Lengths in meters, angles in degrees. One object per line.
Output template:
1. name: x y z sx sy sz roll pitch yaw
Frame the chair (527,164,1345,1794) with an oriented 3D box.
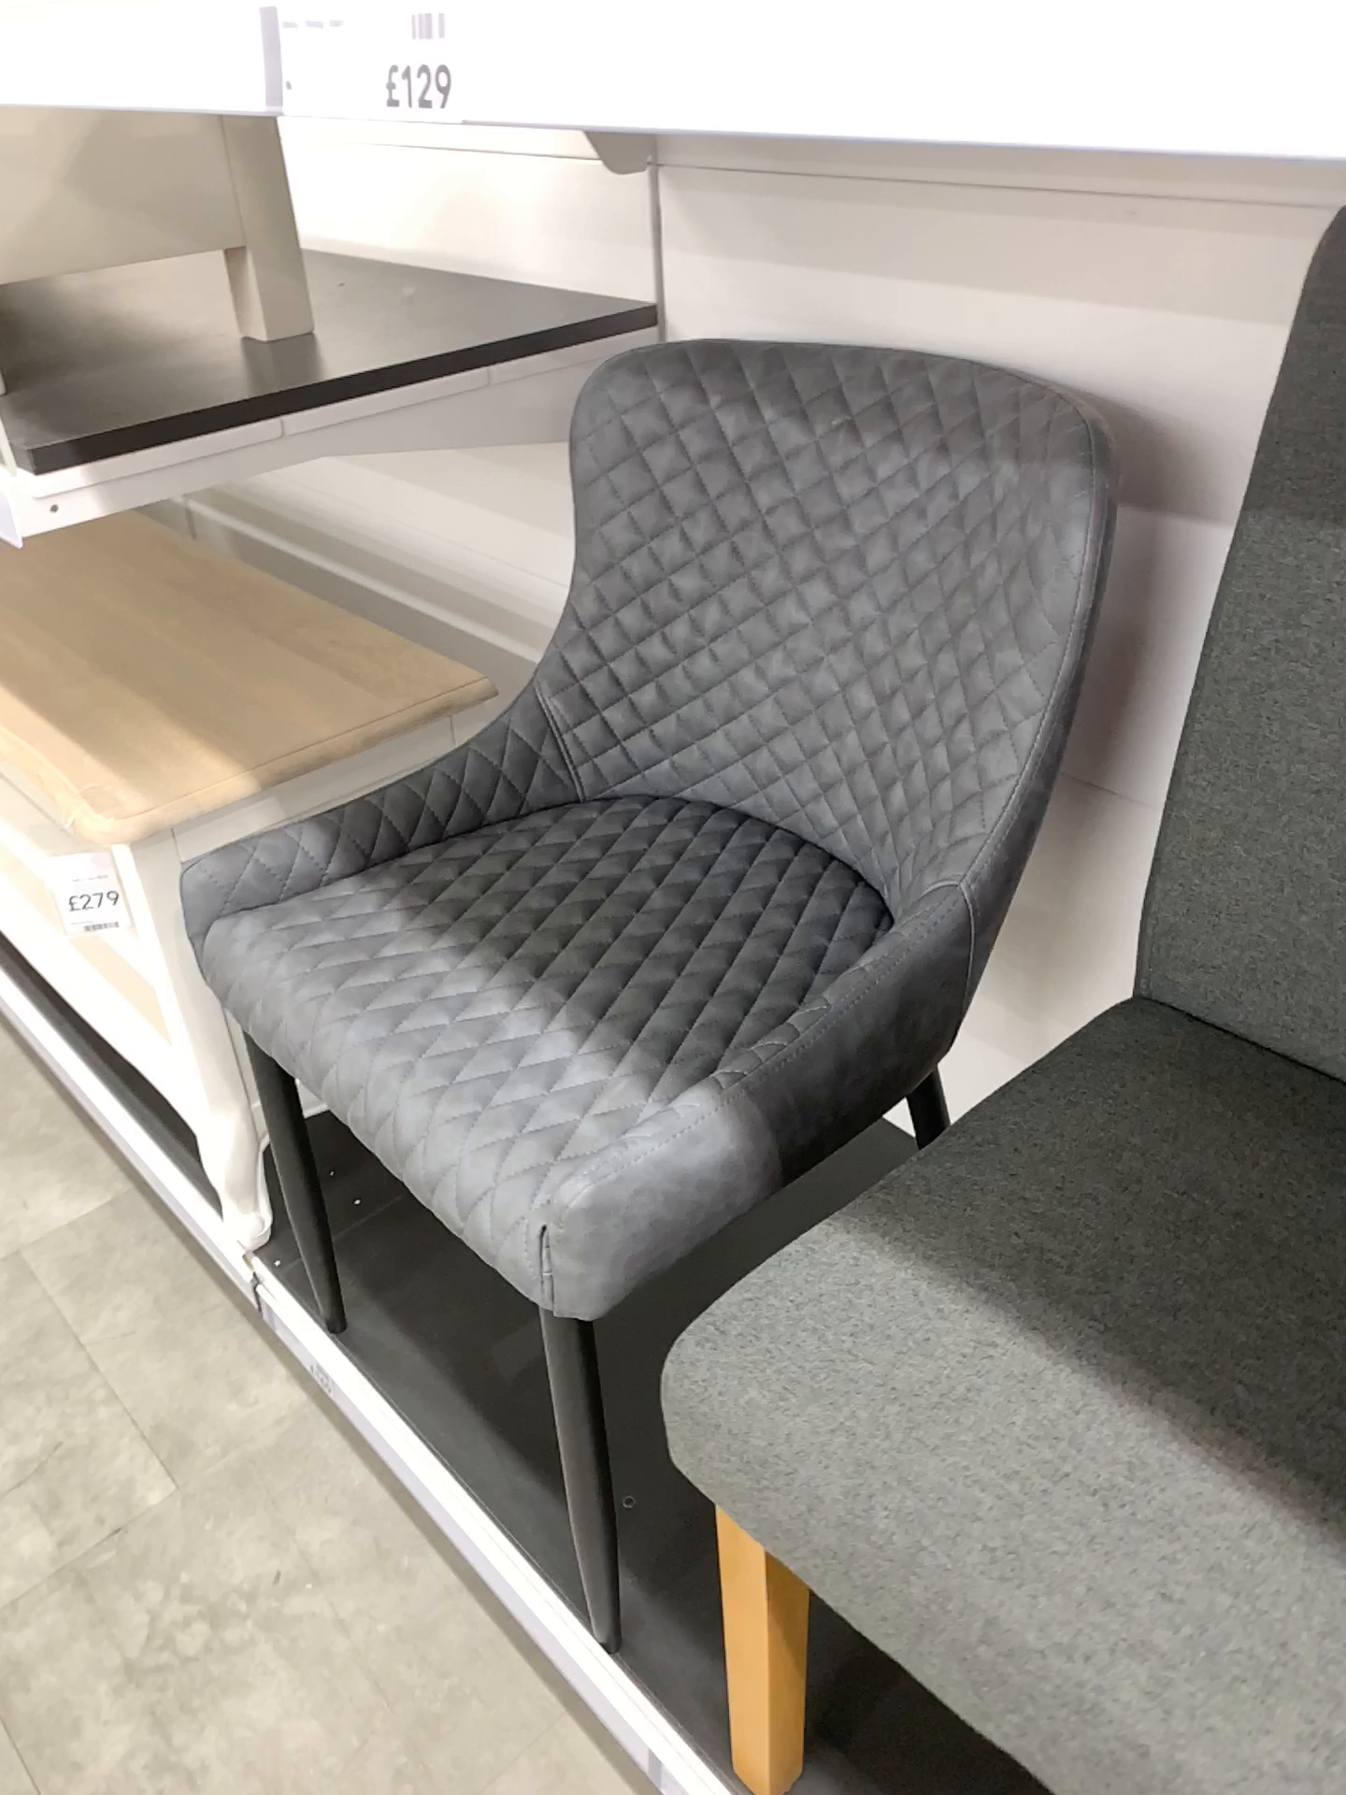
1. chair: 0.325 0.168 0.719 0.562 0.911 0.432 -29 40 -34

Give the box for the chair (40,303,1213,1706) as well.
1. chair: -0.012 0.036 1.058 0.542 0.792 0.483 -28 40 -33
